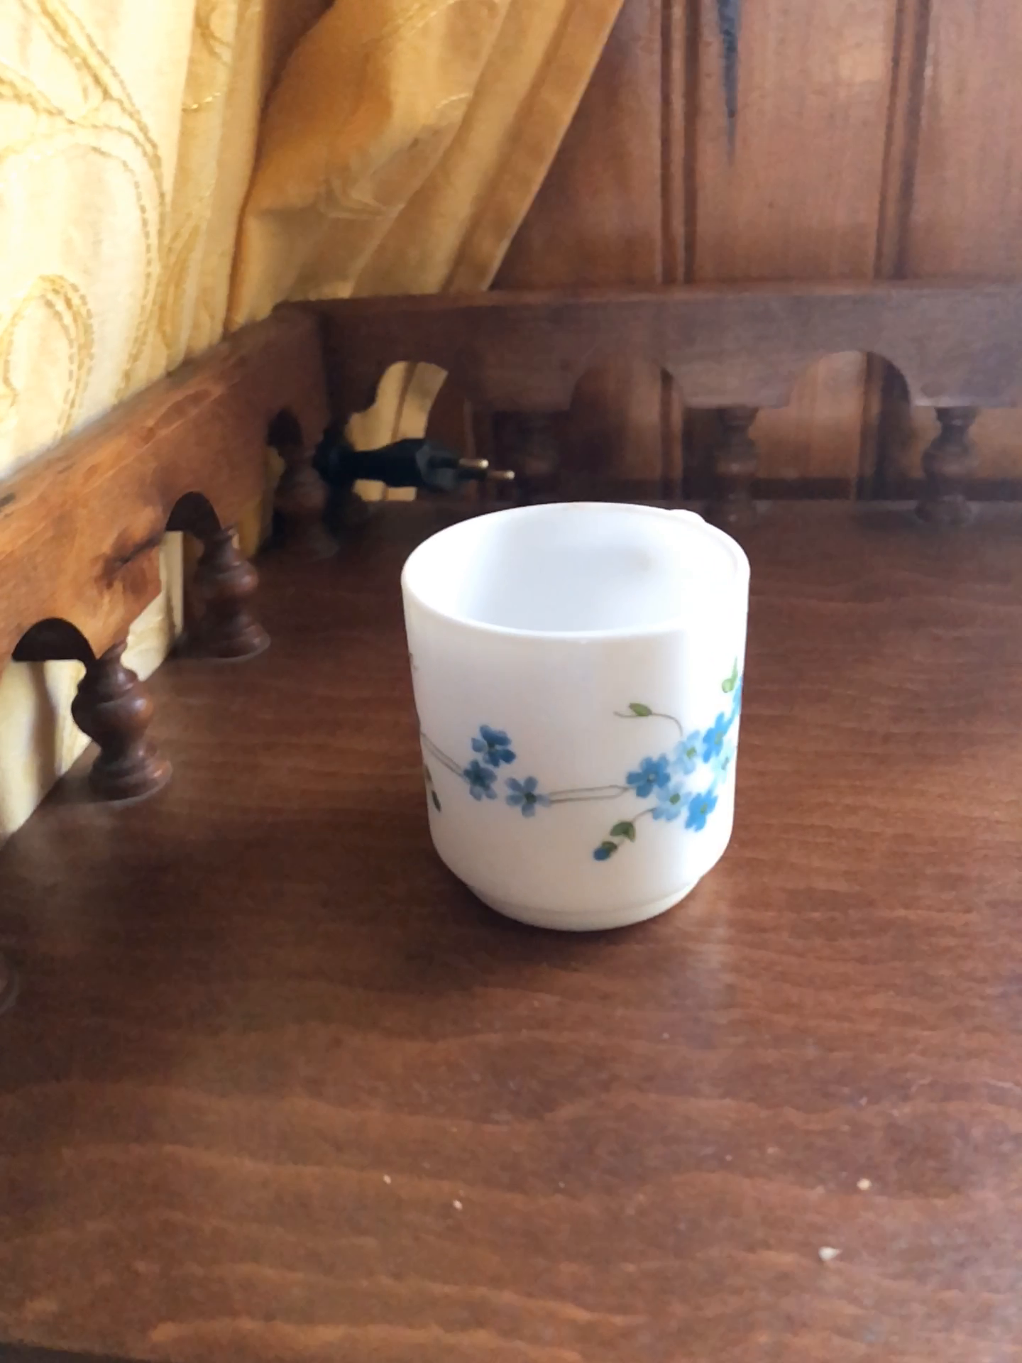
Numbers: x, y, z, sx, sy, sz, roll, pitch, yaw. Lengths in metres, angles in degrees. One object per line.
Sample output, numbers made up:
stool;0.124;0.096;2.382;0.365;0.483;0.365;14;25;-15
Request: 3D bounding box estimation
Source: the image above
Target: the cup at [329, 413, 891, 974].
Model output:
cup;0.021;-0.005;0.206;0.060;0.060;0.080;18;35;34
